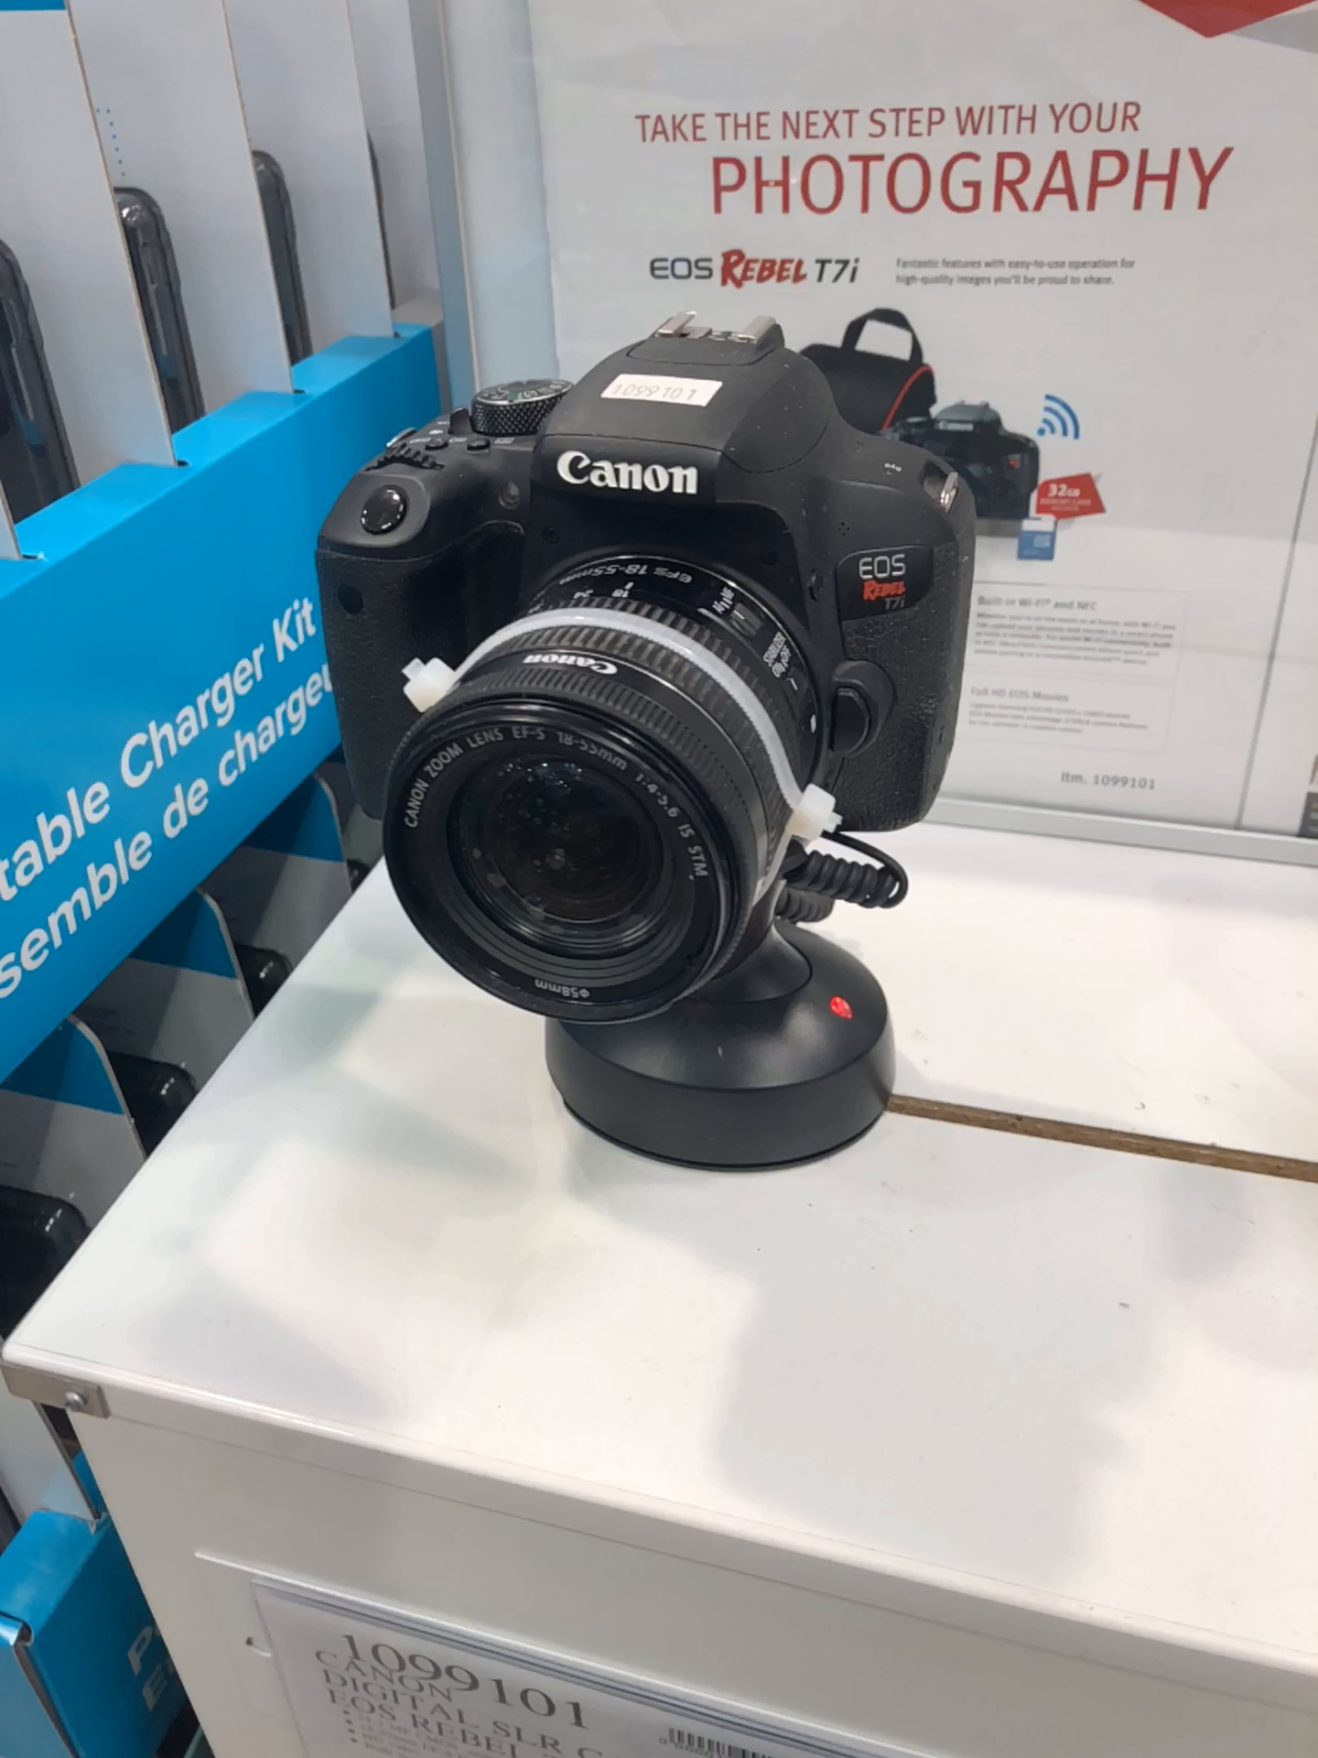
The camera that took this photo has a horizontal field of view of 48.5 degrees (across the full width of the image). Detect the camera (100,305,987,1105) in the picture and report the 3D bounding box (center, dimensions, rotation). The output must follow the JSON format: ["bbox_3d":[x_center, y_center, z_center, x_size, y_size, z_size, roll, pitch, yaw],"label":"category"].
[{"bbox_3d":[-0.007,-0.050,0.310,0.130,0.100,0.150,7,35,13],"label":"camera"}]
